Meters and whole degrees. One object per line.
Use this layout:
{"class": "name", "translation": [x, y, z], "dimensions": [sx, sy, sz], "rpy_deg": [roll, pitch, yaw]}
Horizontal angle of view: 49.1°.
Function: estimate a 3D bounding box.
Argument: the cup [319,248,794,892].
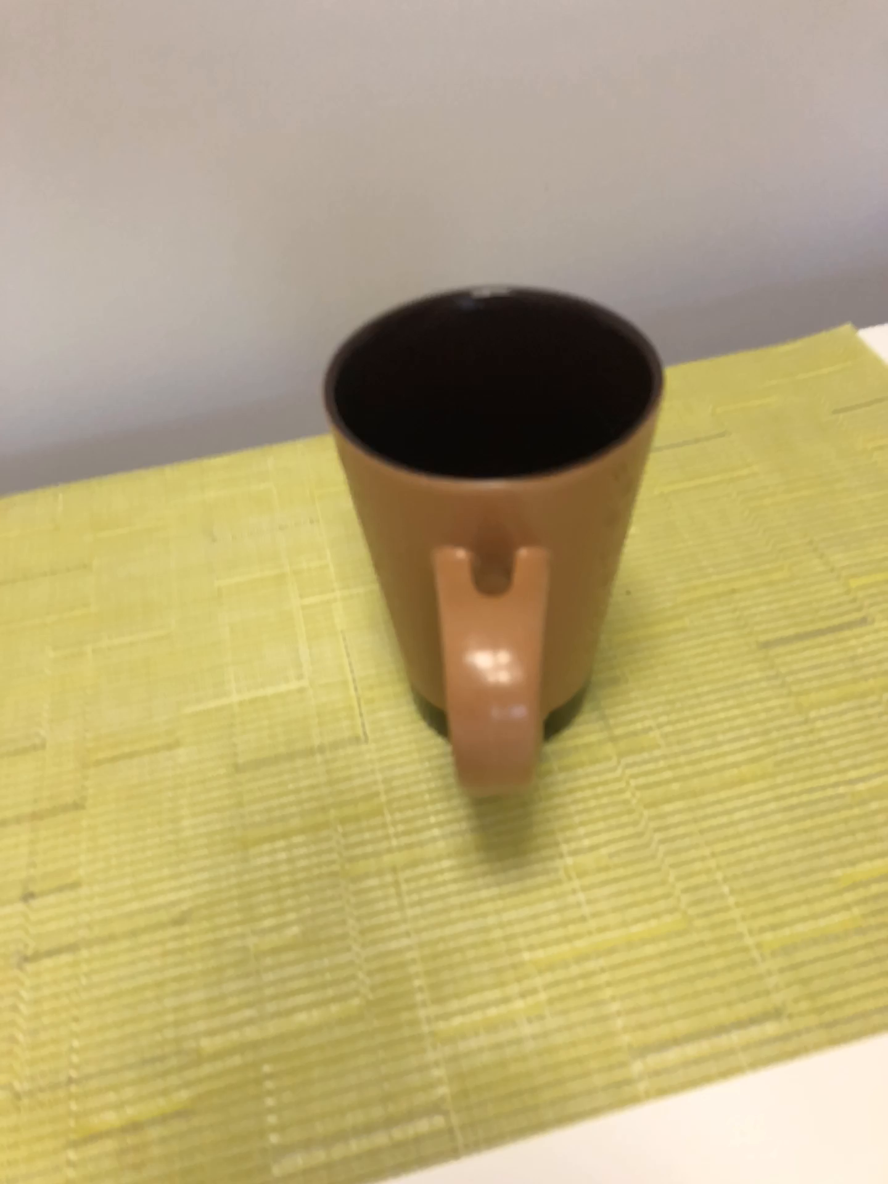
{"class": "cup", "translation": [0.022, -0.007, 0.271], "dimensions": [0.090, 0.119, 0.127], "rpy_deg": [-4, 45, 1]}
